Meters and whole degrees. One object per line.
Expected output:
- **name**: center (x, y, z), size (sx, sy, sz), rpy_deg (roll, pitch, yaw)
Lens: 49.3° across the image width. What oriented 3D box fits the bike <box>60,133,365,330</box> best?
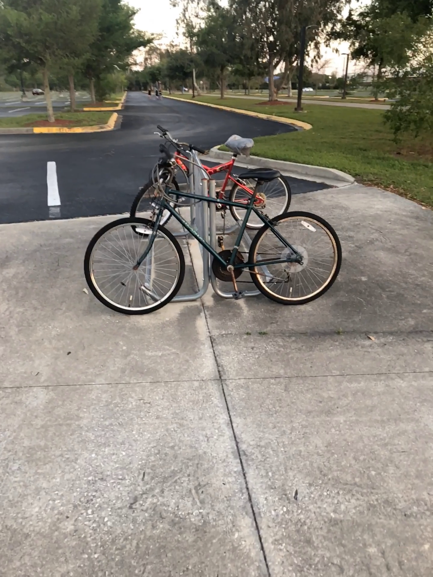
- **bike**: center (-0.003, -0.415, 3.167), size (1.750, 1.104, 0.587), rpy_deg (-4, 22, -6)
